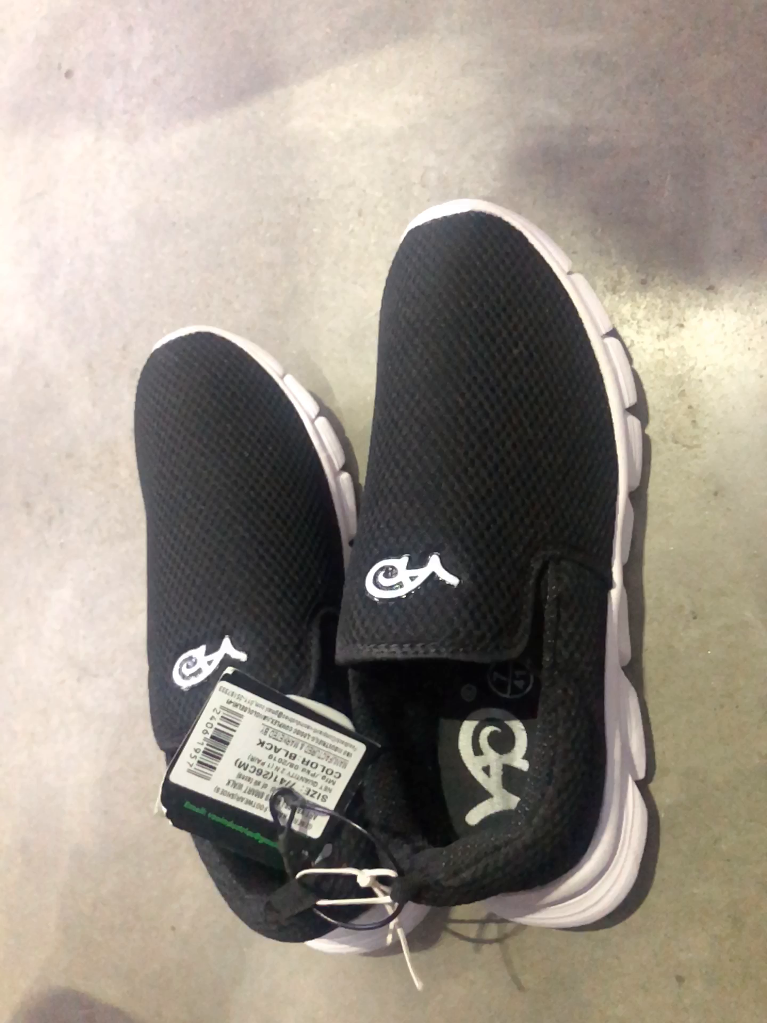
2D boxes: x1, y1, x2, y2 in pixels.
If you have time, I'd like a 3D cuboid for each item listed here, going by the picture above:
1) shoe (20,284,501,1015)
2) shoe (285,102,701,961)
[{"bbox_3d":[-0.056,0.053,0.378,0.110,0.100,0.260,-24,75,21],"label":"shoe"},{"bbox_3d":[0.041,0.008,0.337,0.110,0.100,0.270,-9,80,33],"label":"shoe"}]
